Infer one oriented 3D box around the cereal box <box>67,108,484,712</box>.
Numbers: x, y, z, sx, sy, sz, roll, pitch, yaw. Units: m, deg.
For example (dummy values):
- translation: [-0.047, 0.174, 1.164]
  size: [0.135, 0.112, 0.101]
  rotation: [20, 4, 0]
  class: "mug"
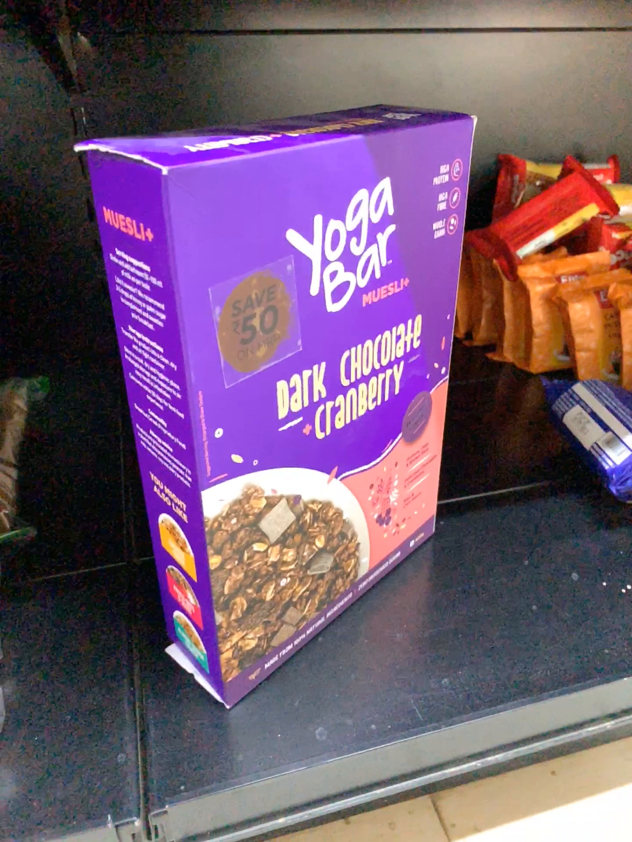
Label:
- translation: [-0.001, -0.012, 0.303]
  size: [0.050, 0.228, 0.171]
  rotation: [24, 37, 37]
  class: "cereal box"
